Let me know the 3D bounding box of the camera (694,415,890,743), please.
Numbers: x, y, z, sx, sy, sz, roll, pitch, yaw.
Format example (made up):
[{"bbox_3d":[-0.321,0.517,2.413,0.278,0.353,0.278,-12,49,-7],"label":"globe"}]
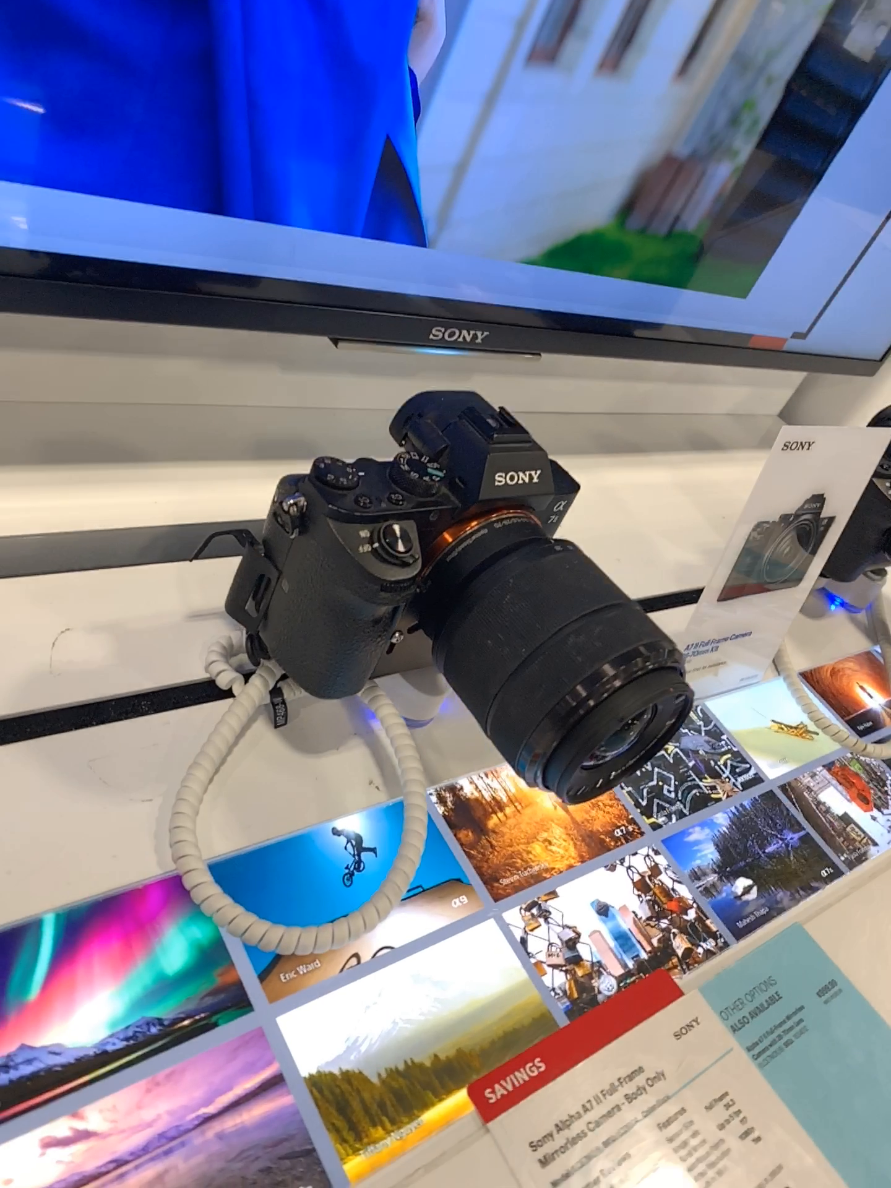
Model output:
[{"bbox_3d":[0.289,-0.021,0.593,0.140,0.099,0.180,-10,50,-39],"label":"camera"}]

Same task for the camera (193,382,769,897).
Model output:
[{"bbox_3d":[0.006,0.002,0.333,0.128,0.084,0.150,-10,50,-39],"label":"camera"}]
